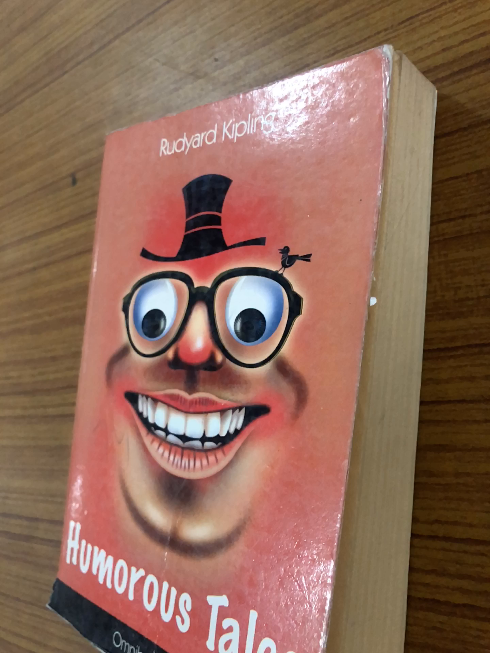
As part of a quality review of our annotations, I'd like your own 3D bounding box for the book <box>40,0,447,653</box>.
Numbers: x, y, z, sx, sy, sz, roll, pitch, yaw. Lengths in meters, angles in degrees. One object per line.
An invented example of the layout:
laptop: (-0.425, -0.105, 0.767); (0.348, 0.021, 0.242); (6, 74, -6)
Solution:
book: (-0.011, 0.014, 0.187); (0.131, 0.040, 0.190); (1, 84, 47)
